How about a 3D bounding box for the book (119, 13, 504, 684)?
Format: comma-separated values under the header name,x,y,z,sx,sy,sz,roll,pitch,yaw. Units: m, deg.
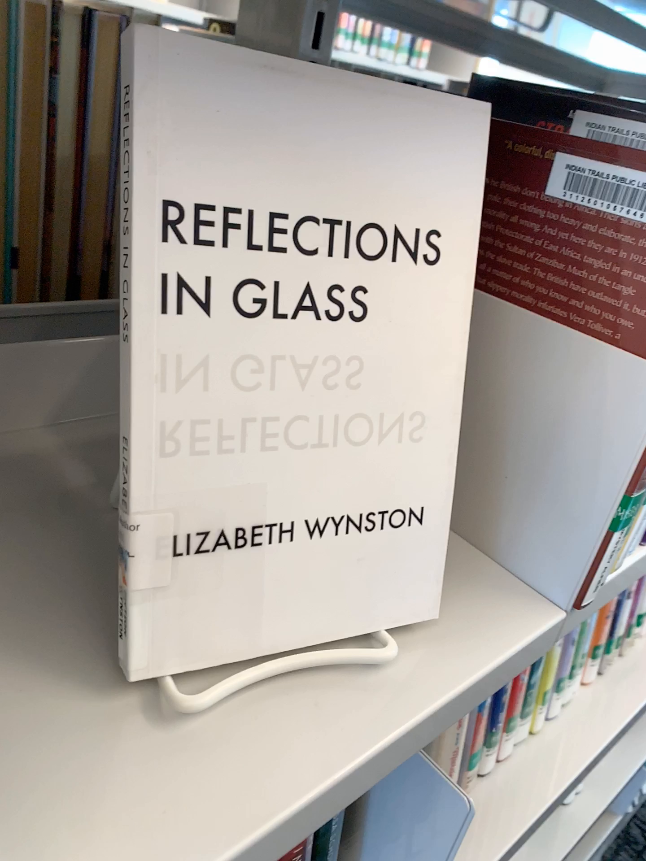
name,x,y,z,sx,sy,sz,roll,pitch,yaw
book,-0.003,-0.019,0.234,0.127,0.196,0.018,-2,14,-28
